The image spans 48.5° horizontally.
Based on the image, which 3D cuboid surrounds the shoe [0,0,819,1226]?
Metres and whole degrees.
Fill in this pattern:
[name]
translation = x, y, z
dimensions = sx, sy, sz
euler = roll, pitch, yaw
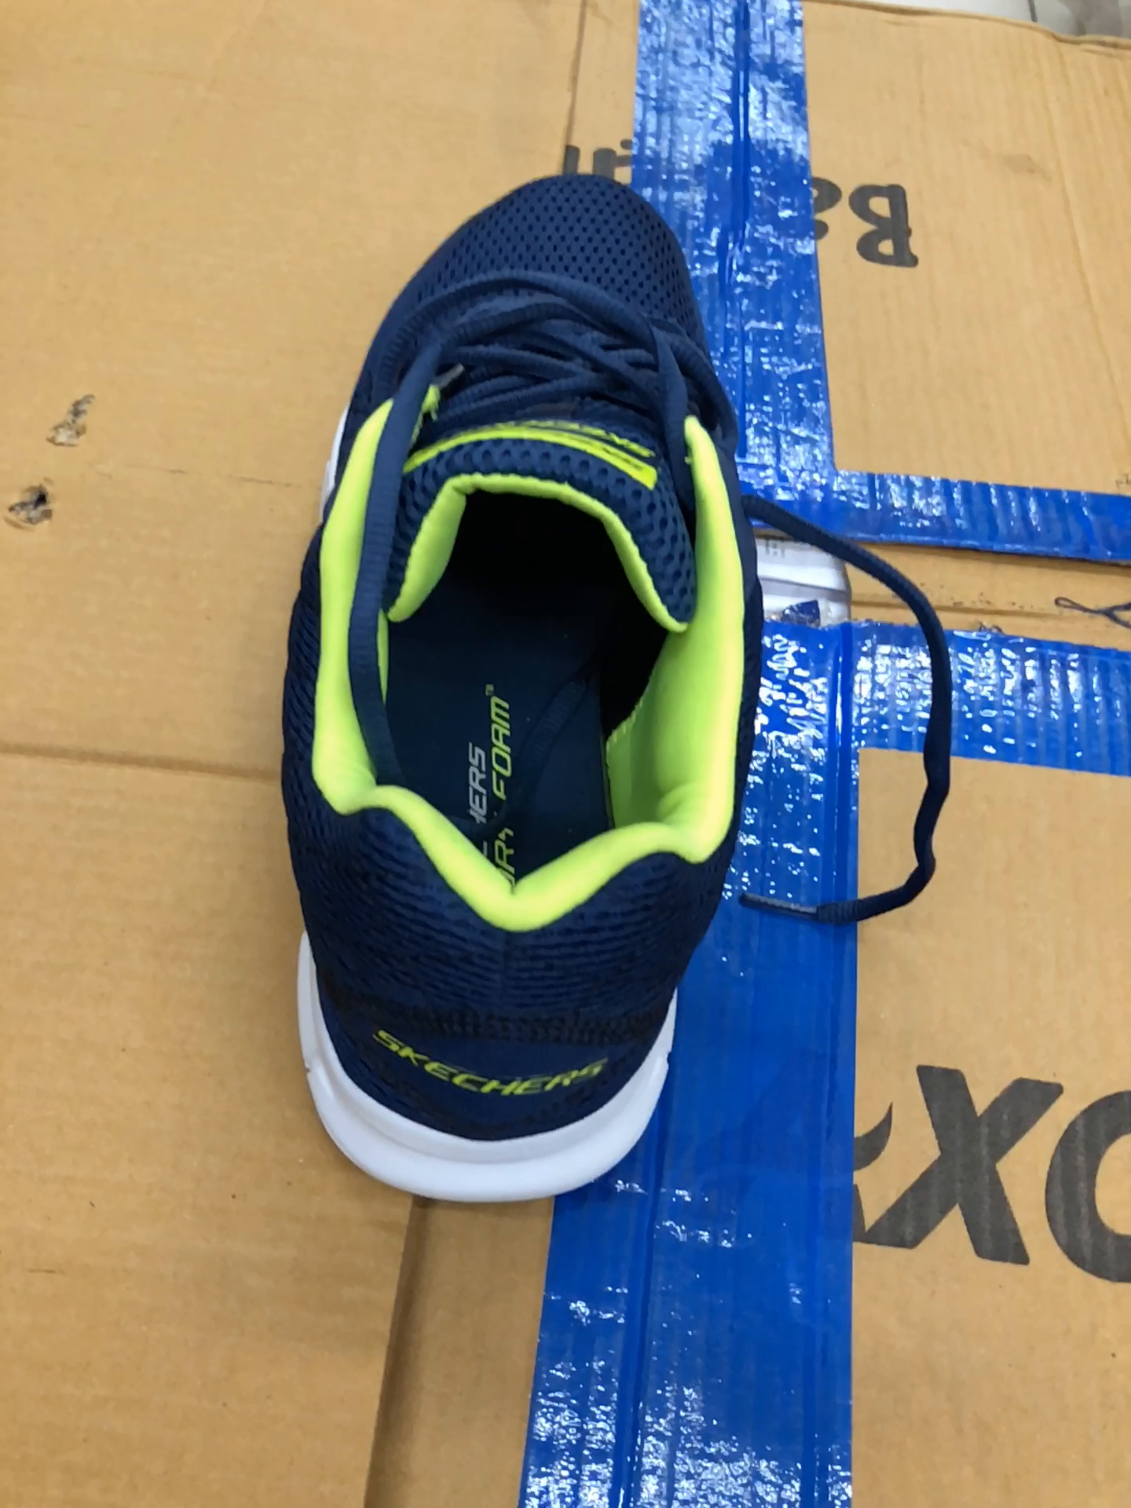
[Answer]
[shoe]
translation = -0.023, -0.075, 0.273
dimensions = 0.106, 0.146, 0.308
euler = 4, 60, -2
